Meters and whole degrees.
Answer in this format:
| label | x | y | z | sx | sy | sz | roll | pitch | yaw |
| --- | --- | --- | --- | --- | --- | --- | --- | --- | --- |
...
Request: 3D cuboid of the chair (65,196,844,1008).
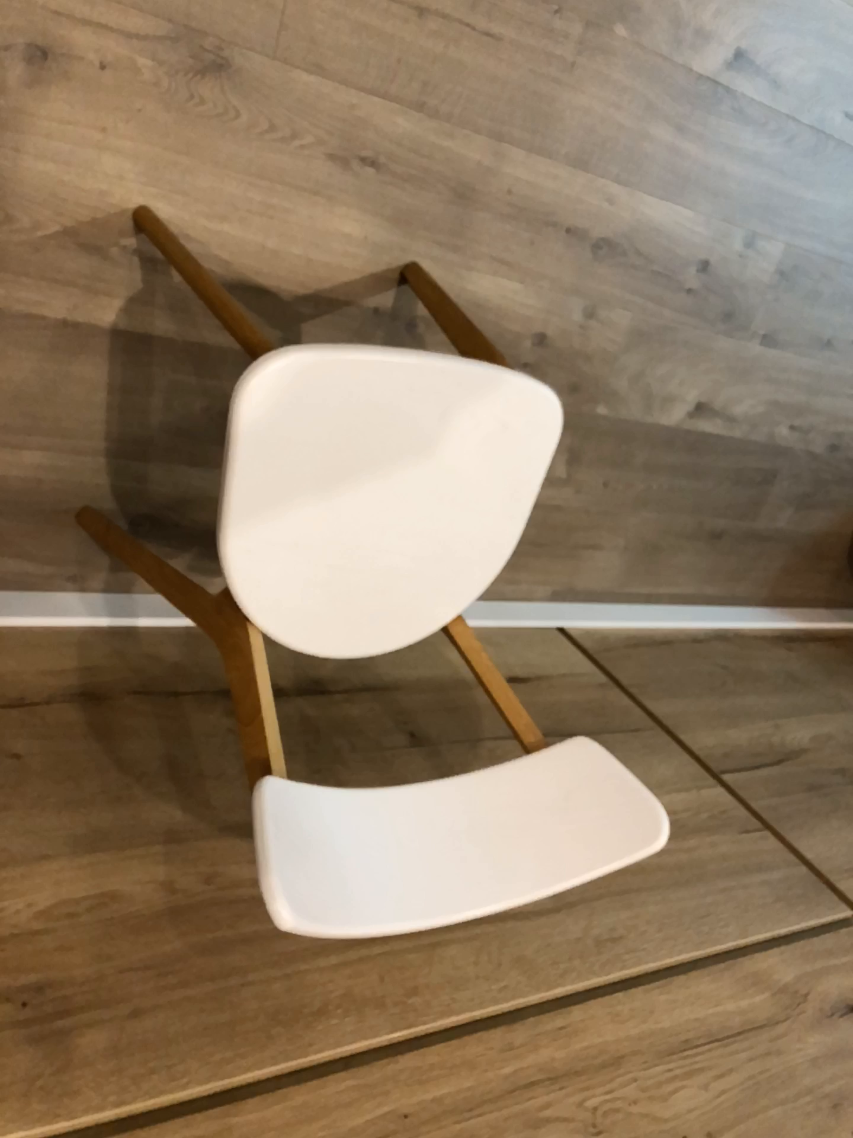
| label | x | y | z | sx | sy | sz | roll | pitch | yaw |
| --- | --- | --- | --- | --- | --- | --- | --- | --- | --- |
| chair | -0.085 | -0.053 | 1.153 | 0.501 | 0.827 | 0.531 | -1 | 120 | -31 |
